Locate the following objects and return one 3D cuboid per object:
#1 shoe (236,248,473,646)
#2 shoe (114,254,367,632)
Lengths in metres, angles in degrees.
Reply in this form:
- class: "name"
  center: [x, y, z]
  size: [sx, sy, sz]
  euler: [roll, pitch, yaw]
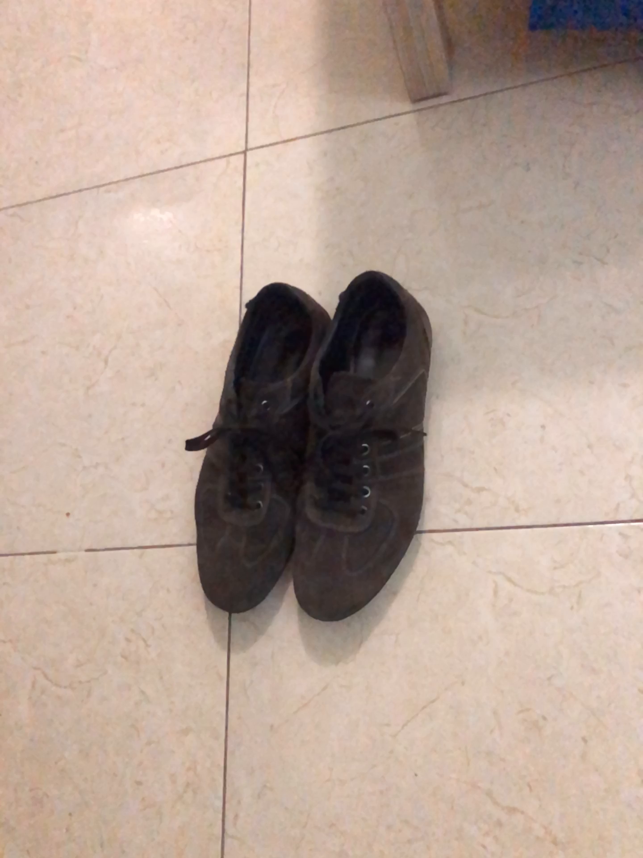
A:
- class: "shoe"
  center: [0.038, 0.014, 0.592]
  size: [0.110, 0.110, 0.300]
  euler: [8, 76, 22]
- class: "shoe"
  center: [-0.060, 0.010, 0.622]
  size: [0.120, 0.110, 0.300]
  euler: [7, 75, 21]
